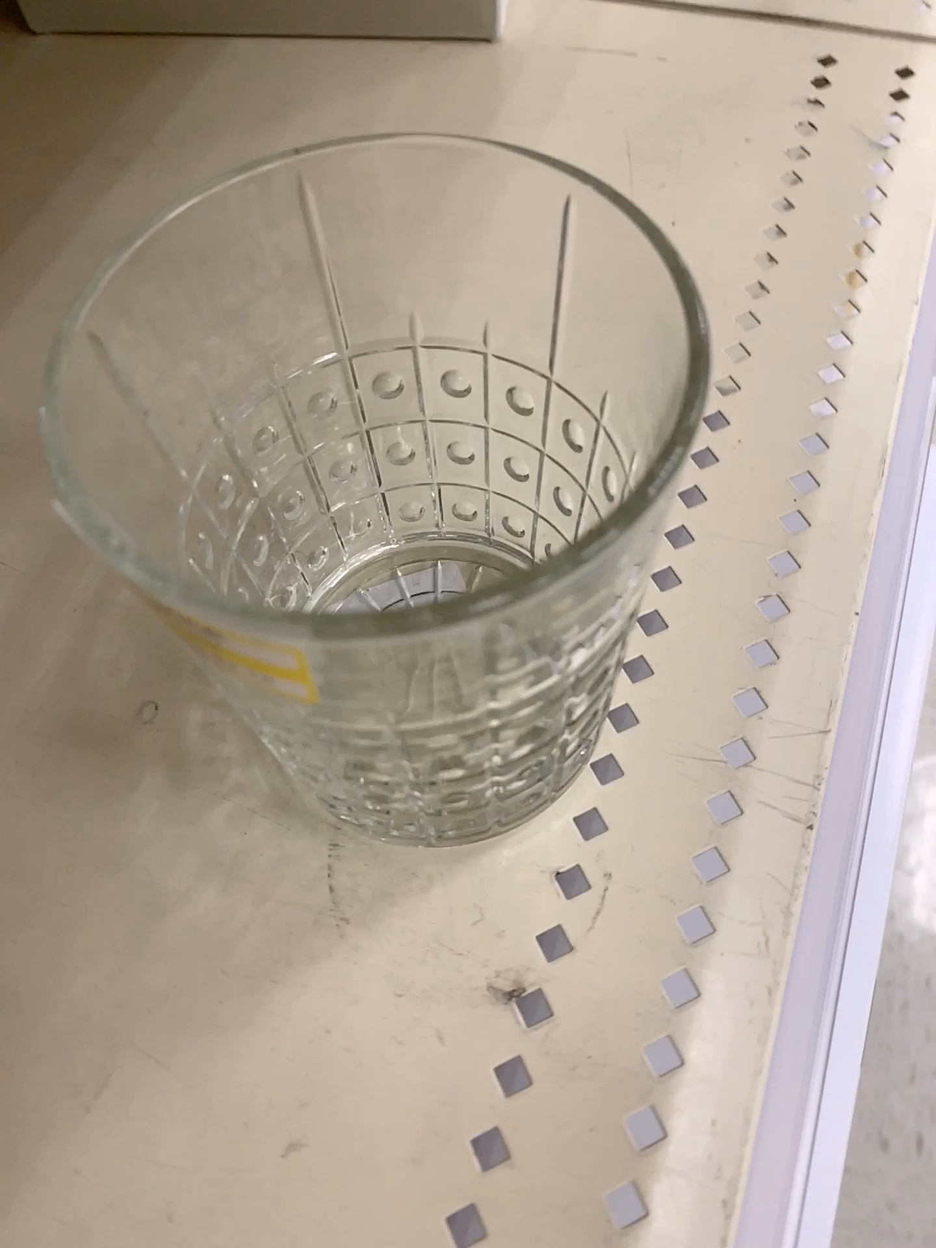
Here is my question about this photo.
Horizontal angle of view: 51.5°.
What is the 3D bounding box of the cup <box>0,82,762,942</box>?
[{"bbox_3d":[-0.013,-0.012,0.179,0.090,0.110,0.090,-1,61,2],"label":"cup"}]
